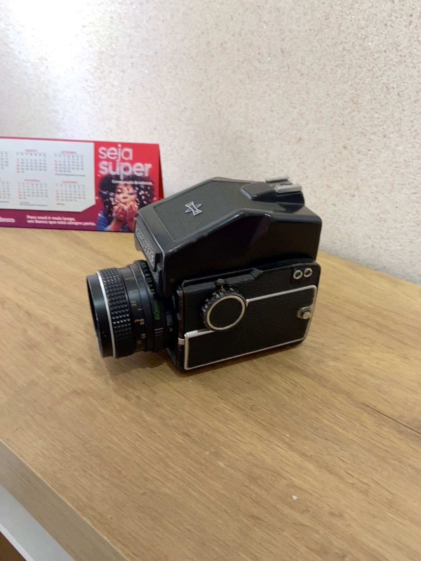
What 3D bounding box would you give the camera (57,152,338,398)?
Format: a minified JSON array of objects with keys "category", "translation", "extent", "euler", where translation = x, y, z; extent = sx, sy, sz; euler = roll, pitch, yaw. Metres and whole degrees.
[{"category":"camera","translation":[-0.019,-0.017,0.328],"extent":[0.160,0.109,0.131],"euler":[-10,34,-18]}]
